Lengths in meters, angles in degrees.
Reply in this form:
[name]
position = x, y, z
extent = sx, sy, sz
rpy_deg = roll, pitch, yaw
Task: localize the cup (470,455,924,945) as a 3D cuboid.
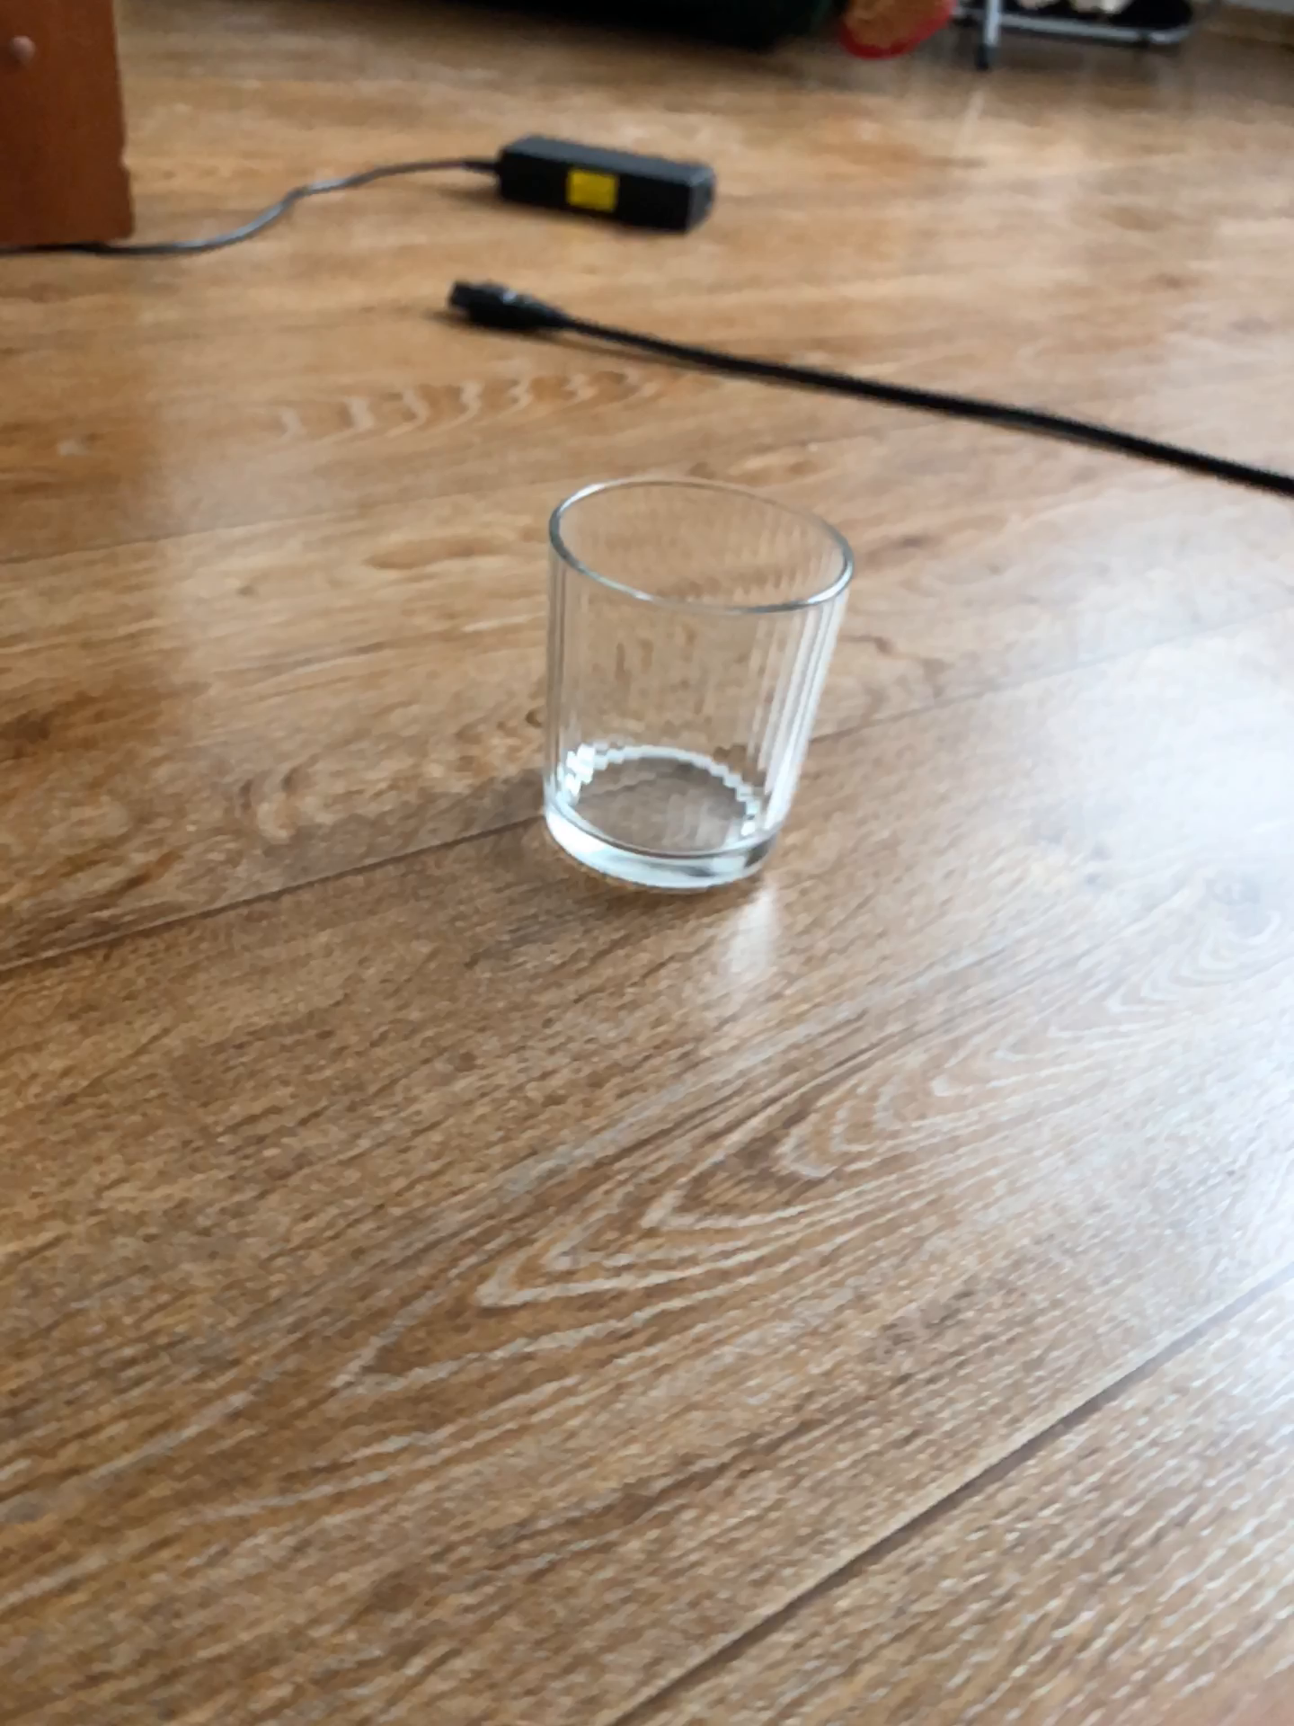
[cup]
position = 0.011, -0.045, 0.367
extent = 0.078, 0.079, 0.076
rpy_deg = 5, 36, -4
